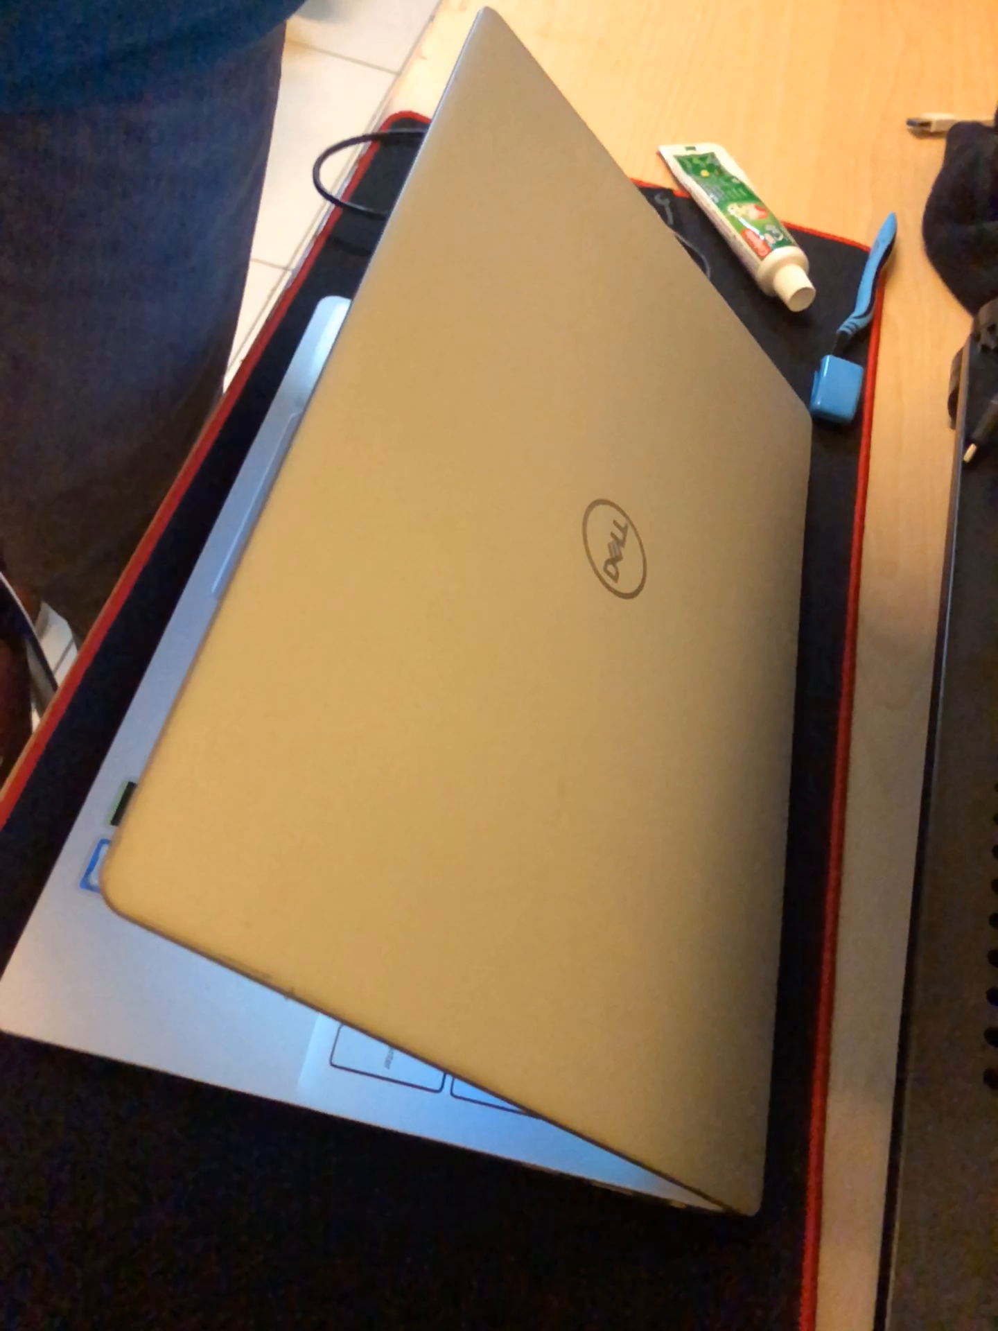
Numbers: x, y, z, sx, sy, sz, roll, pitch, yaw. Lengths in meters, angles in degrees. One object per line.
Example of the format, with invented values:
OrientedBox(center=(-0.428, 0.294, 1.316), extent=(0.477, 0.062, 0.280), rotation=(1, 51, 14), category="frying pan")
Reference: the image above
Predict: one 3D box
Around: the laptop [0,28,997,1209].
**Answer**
OrientedBox(center=(0.017, -0.041, 0.373), extent=(0.218, 0.140, 0.352), rotation=(14, 55, 1), category="laptop")
